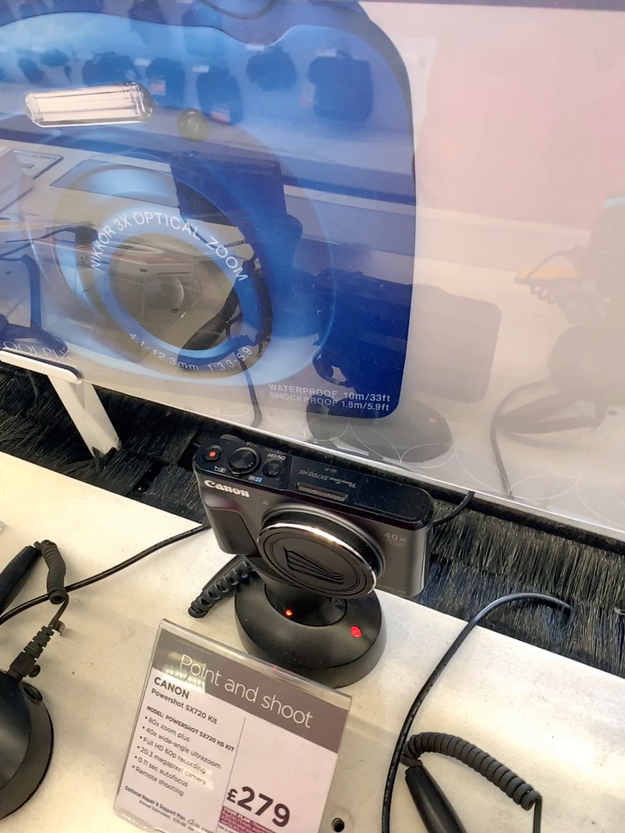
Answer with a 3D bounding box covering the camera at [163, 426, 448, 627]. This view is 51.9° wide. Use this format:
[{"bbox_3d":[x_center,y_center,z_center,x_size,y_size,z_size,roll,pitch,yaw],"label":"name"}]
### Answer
[{"bbox_3d":[-0.002,0.048,0.282,0.113,0.061,0.031,13,51,18],"label":"camera"}]
